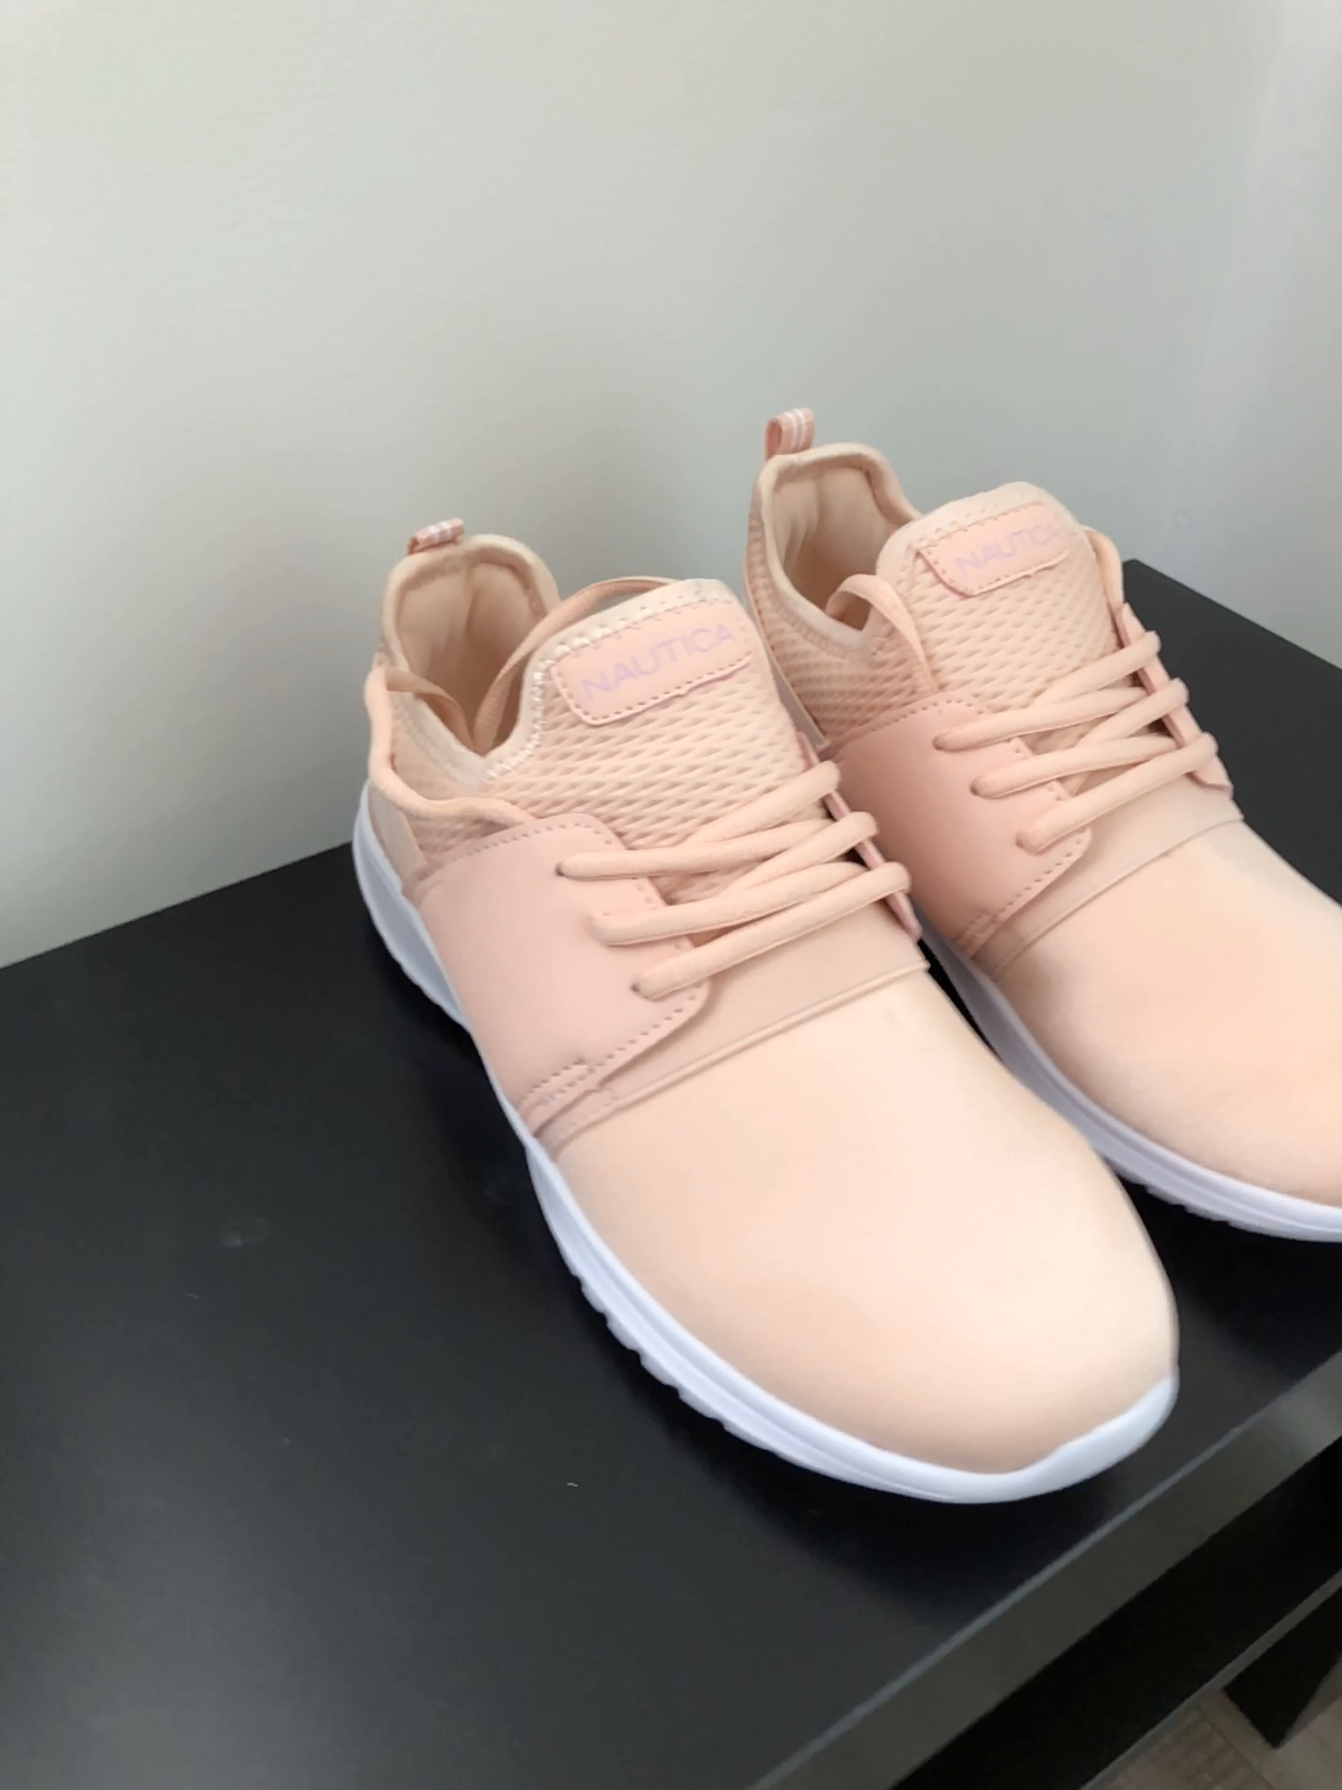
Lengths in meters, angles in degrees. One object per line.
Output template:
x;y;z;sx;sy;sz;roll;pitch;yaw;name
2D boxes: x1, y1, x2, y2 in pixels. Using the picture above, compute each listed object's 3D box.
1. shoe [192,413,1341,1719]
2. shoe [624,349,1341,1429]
0.004;0.005;0.306;0.100;0.110;0.251;-22;45;-26;shoe
0.096;-0.025;0.341;0.100;0.110;0.241;-22;45;-26;shoe
